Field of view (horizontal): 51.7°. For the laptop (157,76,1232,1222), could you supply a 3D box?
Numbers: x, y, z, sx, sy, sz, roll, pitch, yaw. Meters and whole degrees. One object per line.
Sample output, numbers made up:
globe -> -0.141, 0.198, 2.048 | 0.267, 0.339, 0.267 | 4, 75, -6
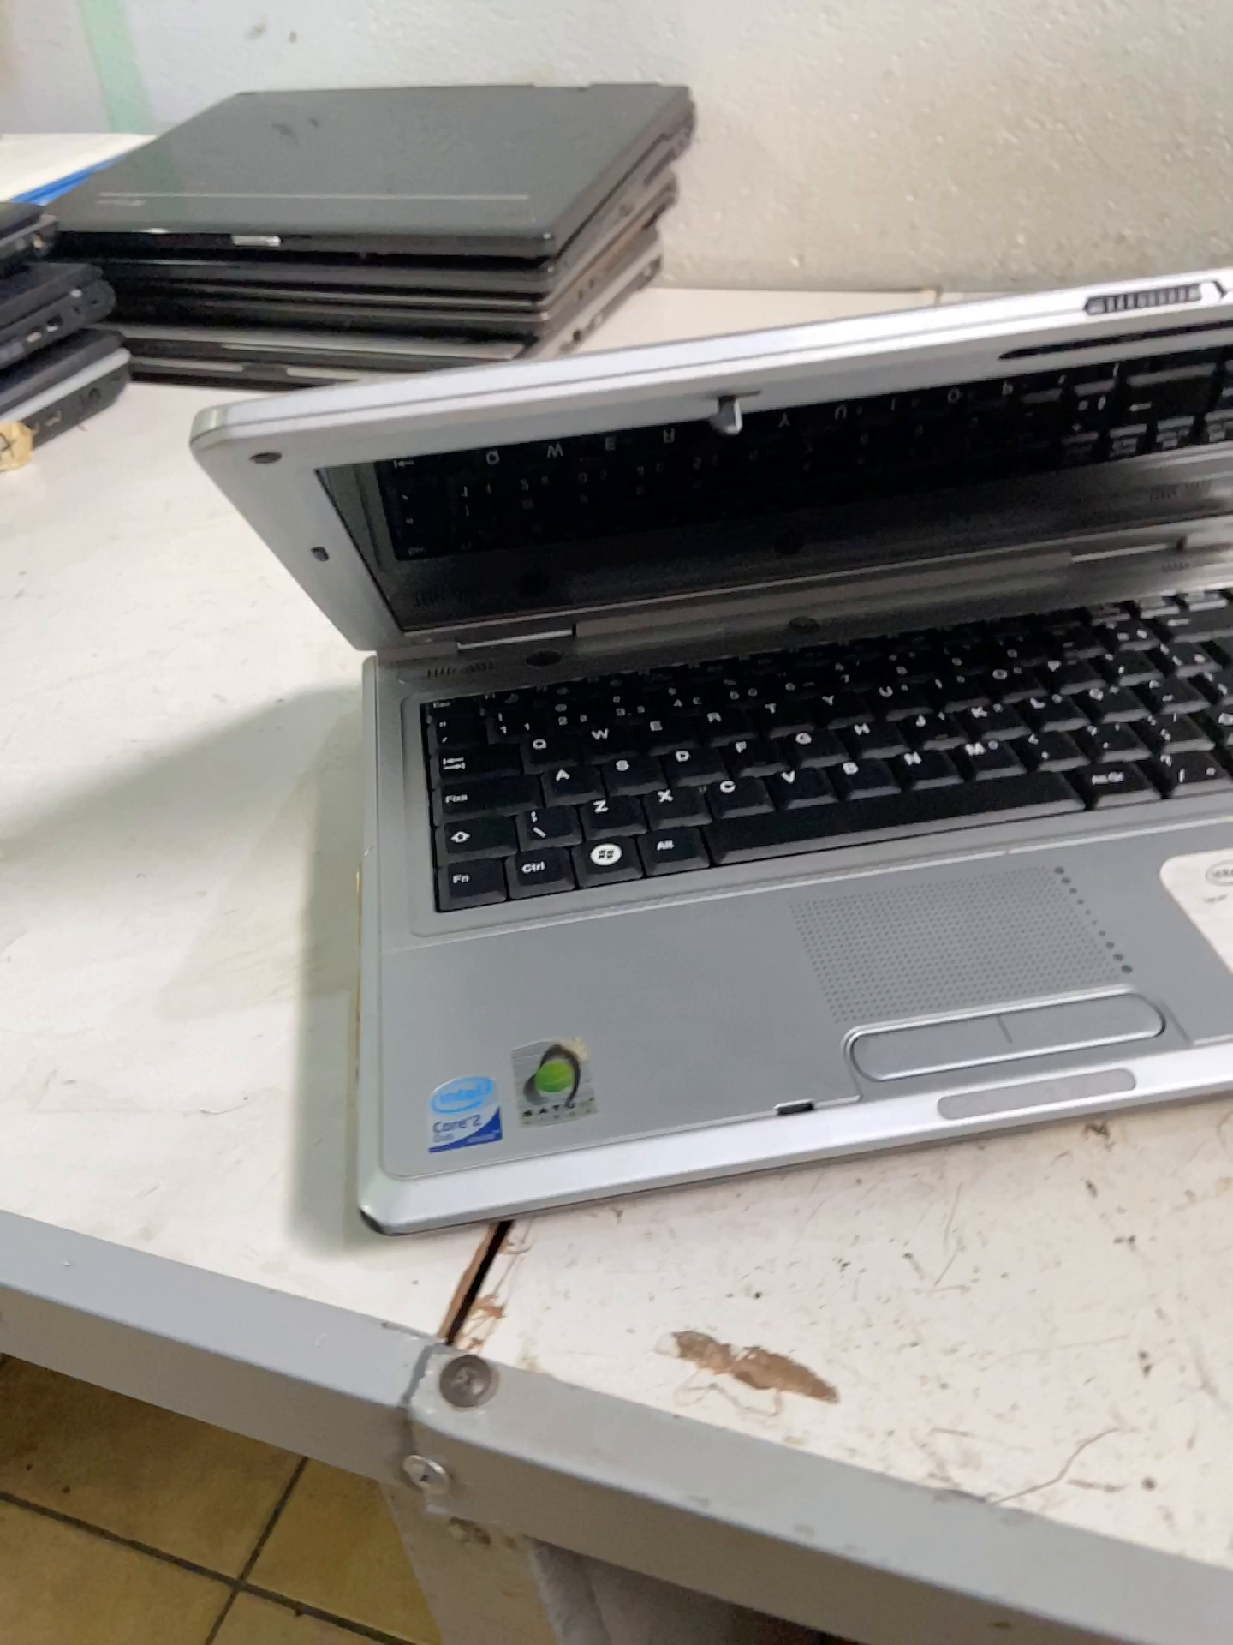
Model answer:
laptop -> 0.088, -0.075, 0.333 | 0.335, 0.153, 0.244 | -9, 37, -5
